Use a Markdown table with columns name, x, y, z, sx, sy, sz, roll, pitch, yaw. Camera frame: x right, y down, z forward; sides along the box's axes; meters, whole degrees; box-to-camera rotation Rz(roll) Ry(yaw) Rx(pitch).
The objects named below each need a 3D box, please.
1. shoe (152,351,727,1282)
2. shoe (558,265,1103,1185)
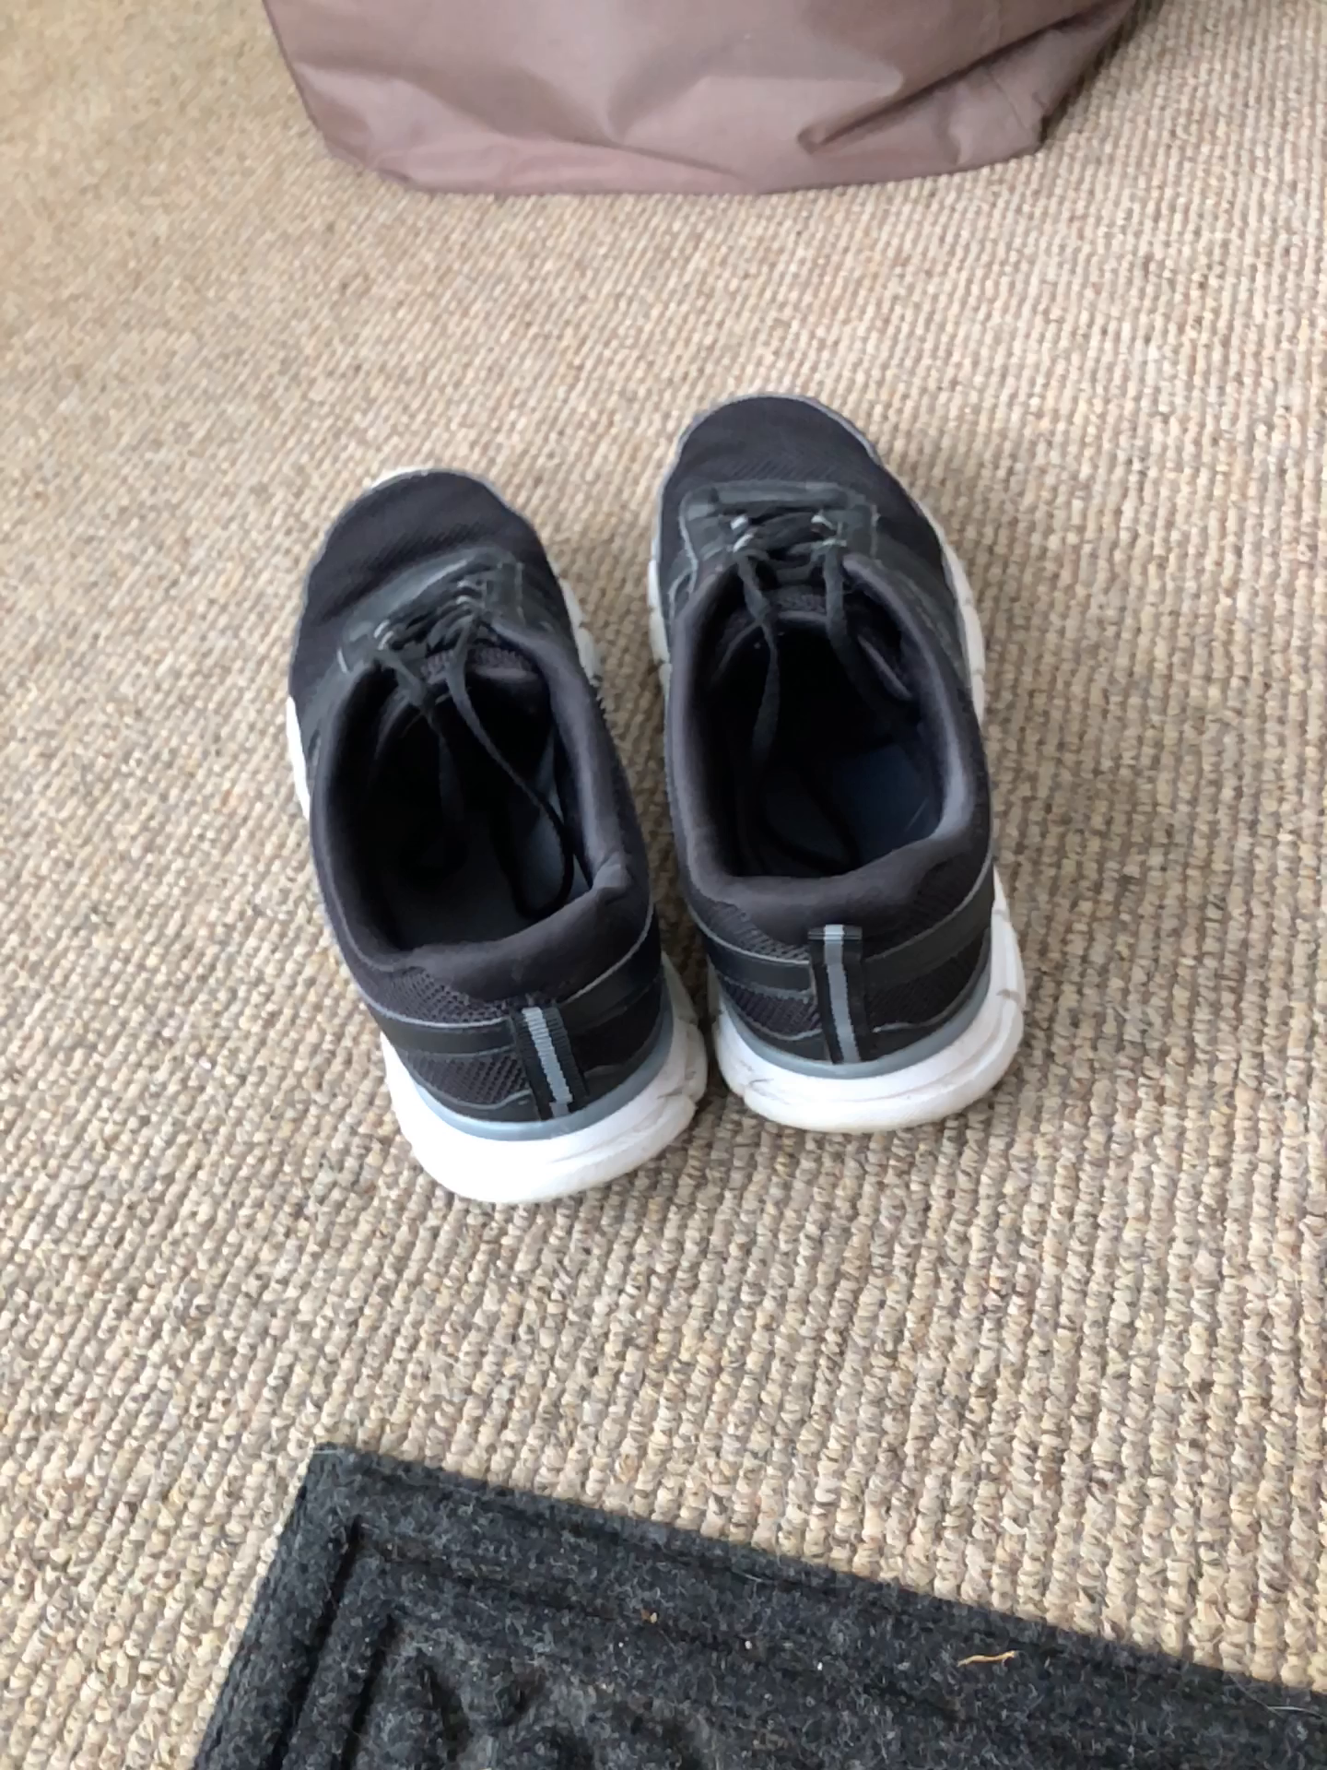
| name | x | y | z | sx | sy | sz | roll | pitch | yaw |
| --- | --- | --- | --- | --- | --- | --- | --- | --- | --- |
| shoe | -0.079 | -0.038 | 0.463 | 0.118 | 0.100 | 0.277 | -16 | 51 | -3 |
| shoe | 0.039 | -0.063 | 0.464 | 0.120 | 0.110 | 0.277 | -8 | 51 | 4 |
